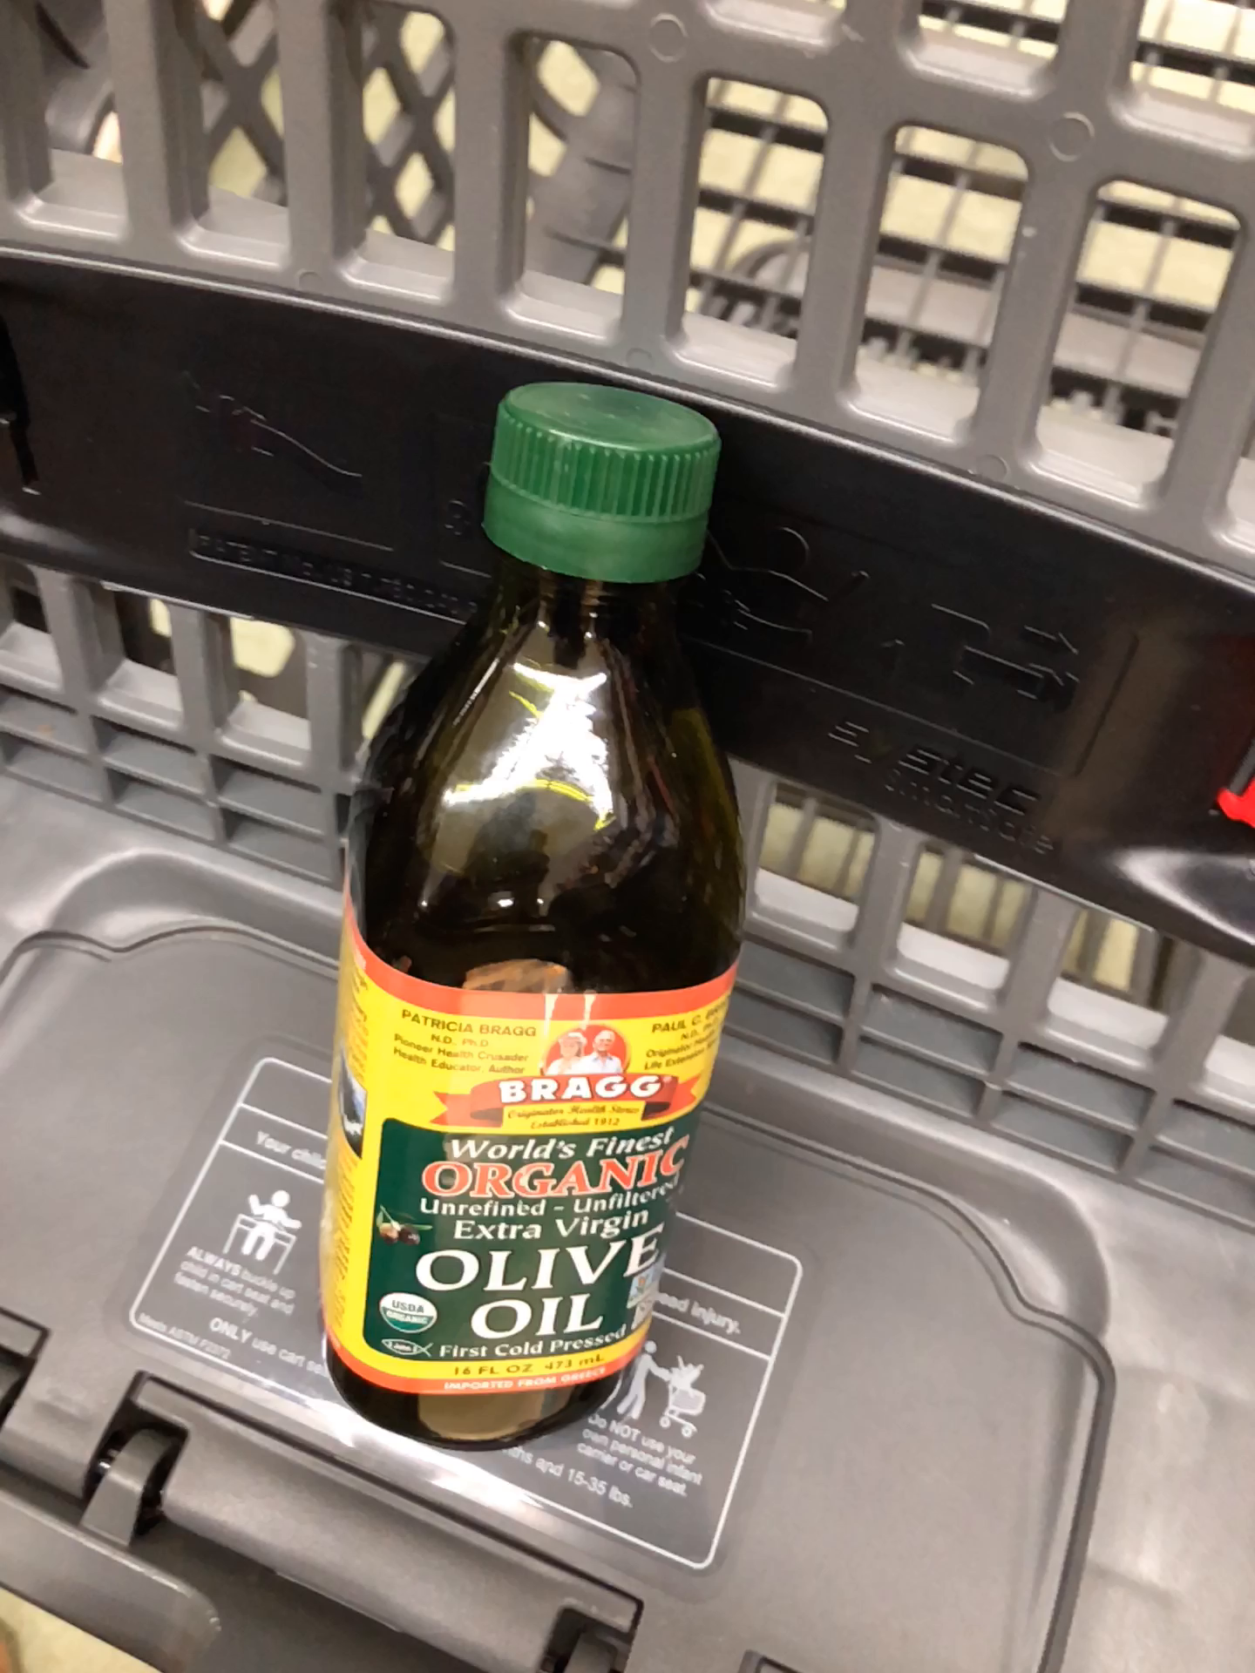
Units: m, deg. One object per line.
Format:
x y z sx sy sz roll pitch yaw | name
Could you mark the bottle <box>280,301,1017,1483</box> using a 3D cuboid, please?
-0.014 0.020 0.245 0.080 0.193 0.070 2 33 -16 | bottle
